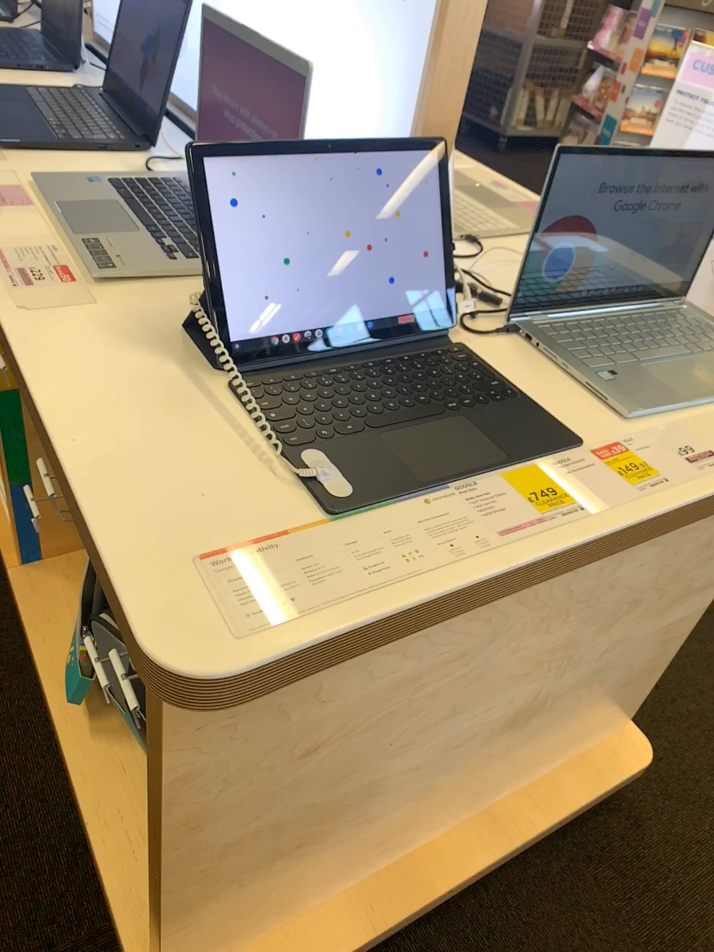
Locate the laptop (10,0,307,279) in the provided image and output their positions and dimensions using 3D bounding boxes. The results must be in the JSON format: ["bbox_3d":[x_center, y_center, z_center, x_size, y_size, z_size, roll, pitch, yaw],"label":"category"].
[{"bbox_3d":[-0.245,-0.421,0.880,0.233,0.222,0.321,-13,45,-30],"label":"laptop"}]

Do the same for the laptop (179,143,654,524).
[{"bbox_3d":[0.030,-0.156,0.669,0.286,0.187,0.294,-15,45,-30],"label":"laptop"}]
